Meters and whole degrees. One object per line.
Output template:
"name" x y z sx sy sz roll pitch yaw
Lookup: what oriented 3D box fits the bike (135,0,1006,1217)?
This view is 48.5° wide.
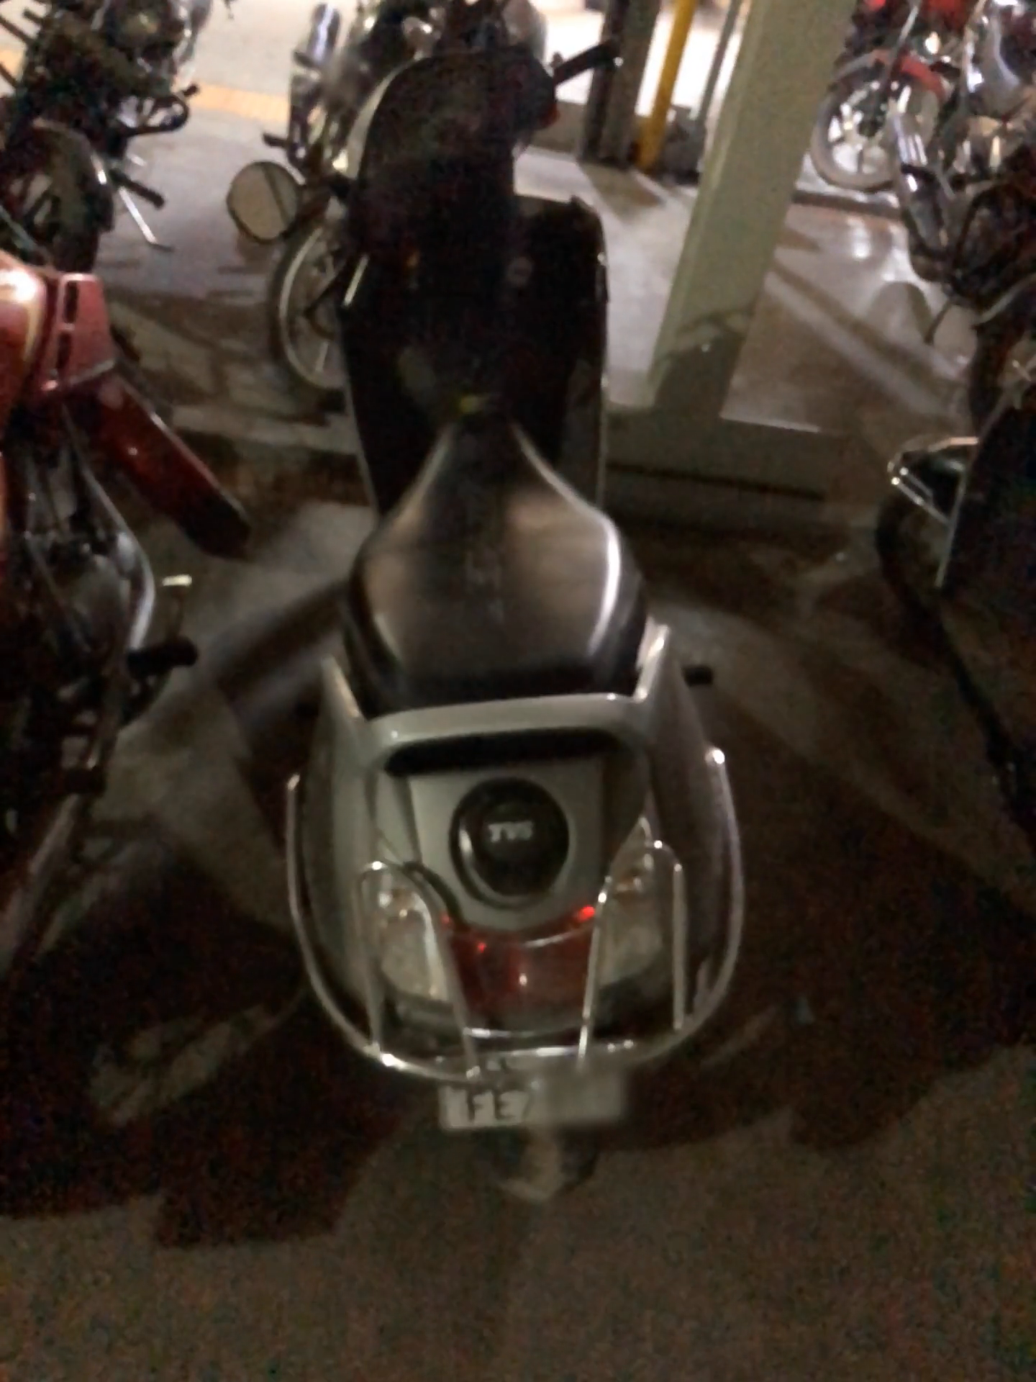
"bike" -0.092 -0.191 1.645 0.602 1.094 1.387 4 42 -10
